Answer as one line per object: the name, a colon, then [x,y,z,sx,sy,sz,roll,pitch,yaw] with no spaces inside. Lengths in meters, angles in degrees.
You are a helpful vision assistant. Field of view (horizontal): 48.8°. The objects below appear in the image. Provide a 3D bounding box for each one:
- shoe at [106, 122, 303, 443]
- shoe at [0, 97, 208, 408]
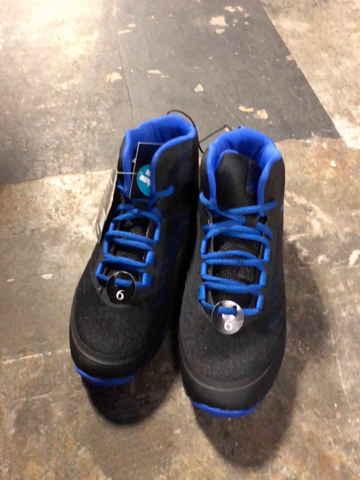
shoe: [0.038,0.026,0.335,0.110,0.119,0.231,5,56,12]
shoe: [-0.058,0.001,0.338,0.100,0.119,0.221,11,57,16]
